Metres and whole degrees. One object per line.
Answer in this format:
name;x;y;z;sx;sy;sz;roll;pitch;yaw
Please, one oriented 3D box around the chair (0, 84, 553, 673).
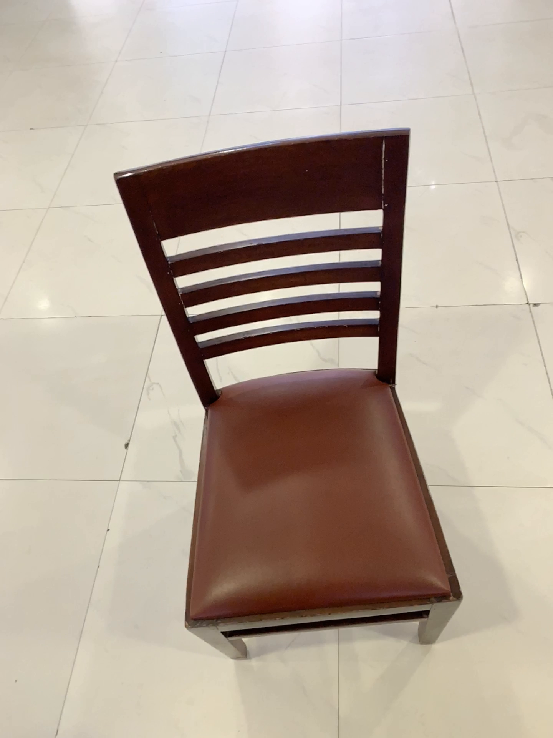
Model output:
chair;0.003;0.105;0.913;0.560;0.785;0.544;-7;53;4
